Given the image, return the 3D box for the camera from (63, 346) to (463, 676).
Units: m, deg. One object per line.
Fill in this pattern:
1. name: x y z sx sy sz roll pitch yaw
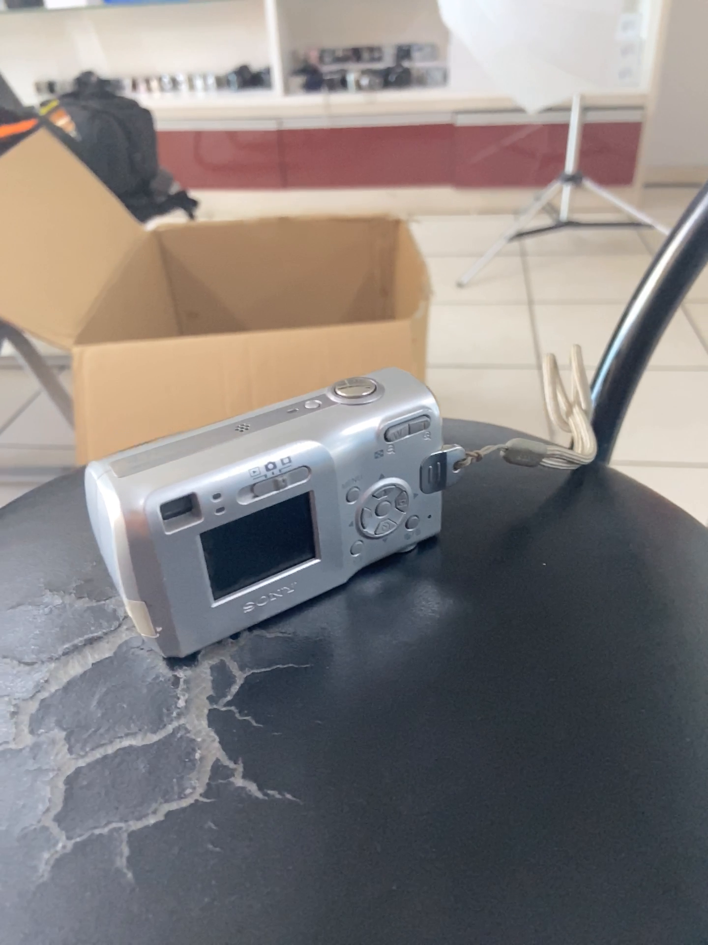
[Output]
1. camera: -0.022 0.006 0.212 0.100 0.050 0.040 -21 38 -24
